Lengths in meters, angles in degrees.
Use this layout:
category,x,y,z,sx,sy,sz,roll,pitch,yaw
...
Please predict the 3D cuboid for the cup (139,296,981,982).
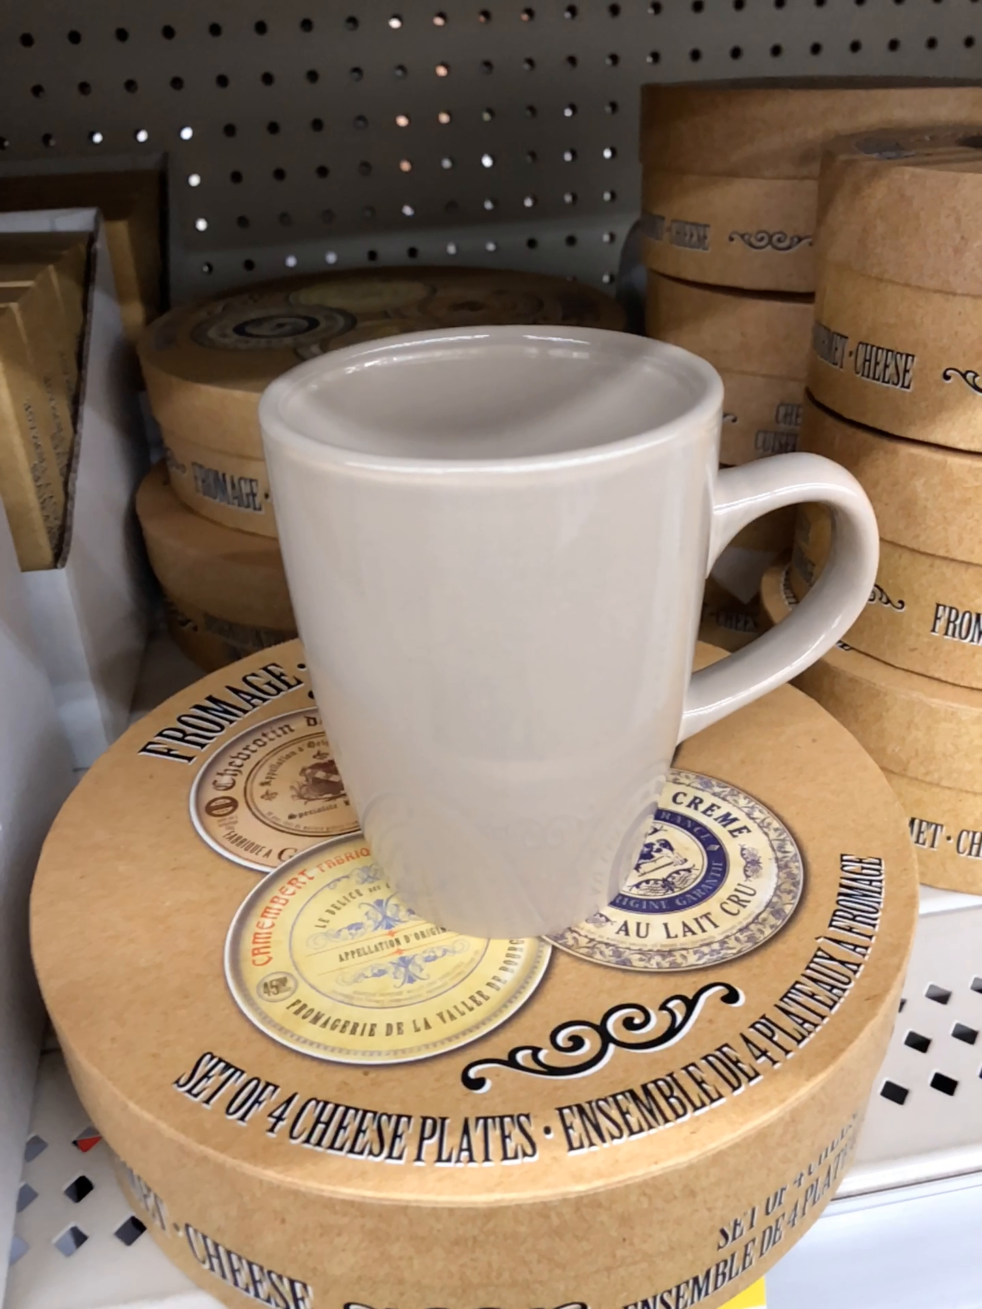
category,x,y,z,sx,sy,sz,roll,pitch,yaw
cup,0.010,-0.009,0.229,0.130,0.100,0.090,-6,30,-4
